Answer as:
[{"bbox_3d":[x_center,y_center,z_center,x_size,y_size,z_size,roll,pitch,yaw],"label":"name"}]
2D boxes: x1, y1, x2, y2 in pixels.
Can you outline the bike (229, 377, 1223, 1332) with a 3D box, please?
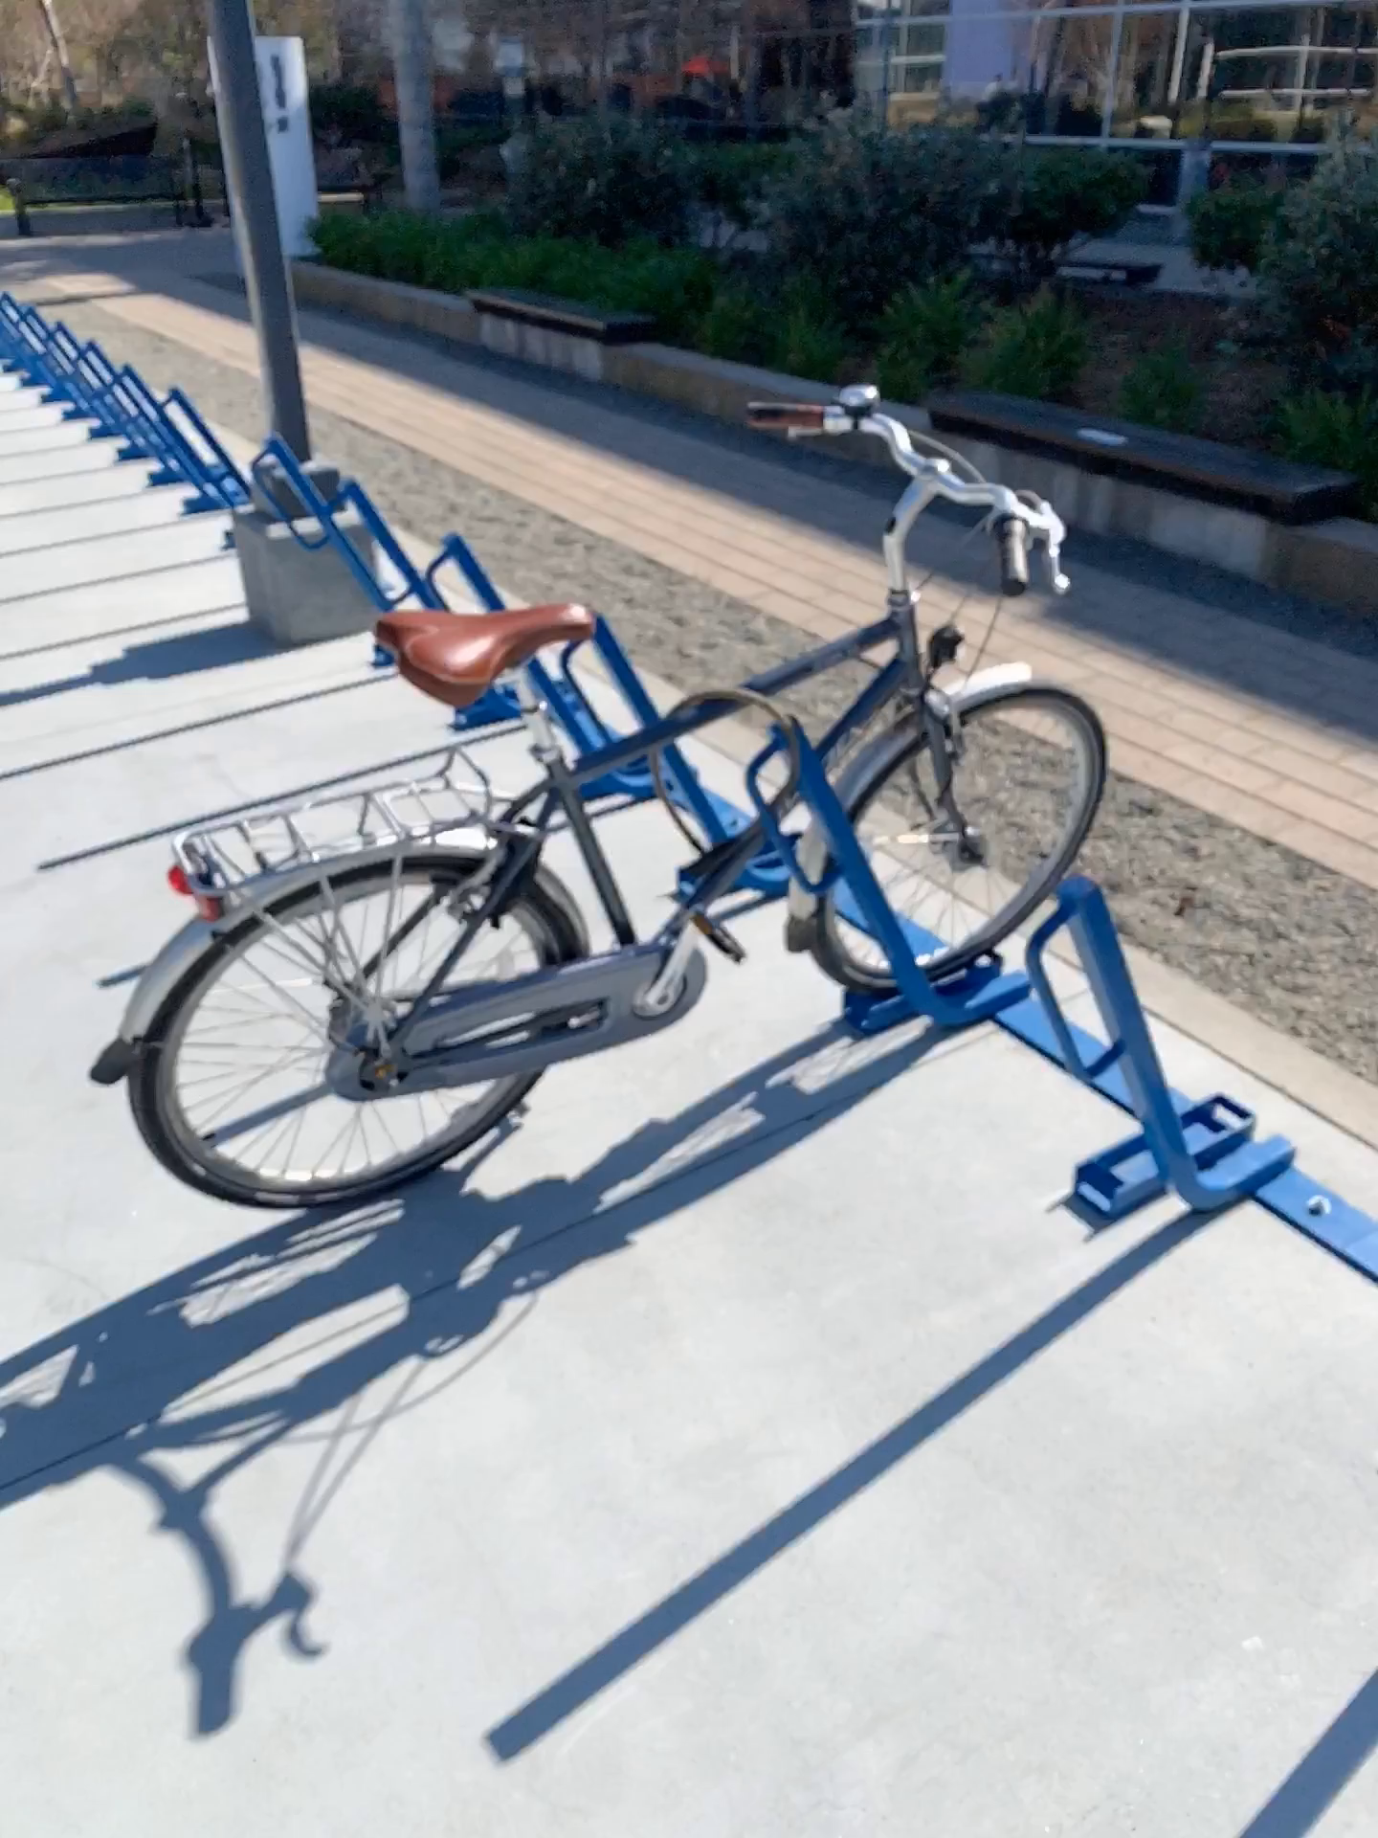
[{"bbox_3d":[0.047,-0.160,1.952,1.061,0.916,0.593,-16,34,-24],"label":"bike"}]
